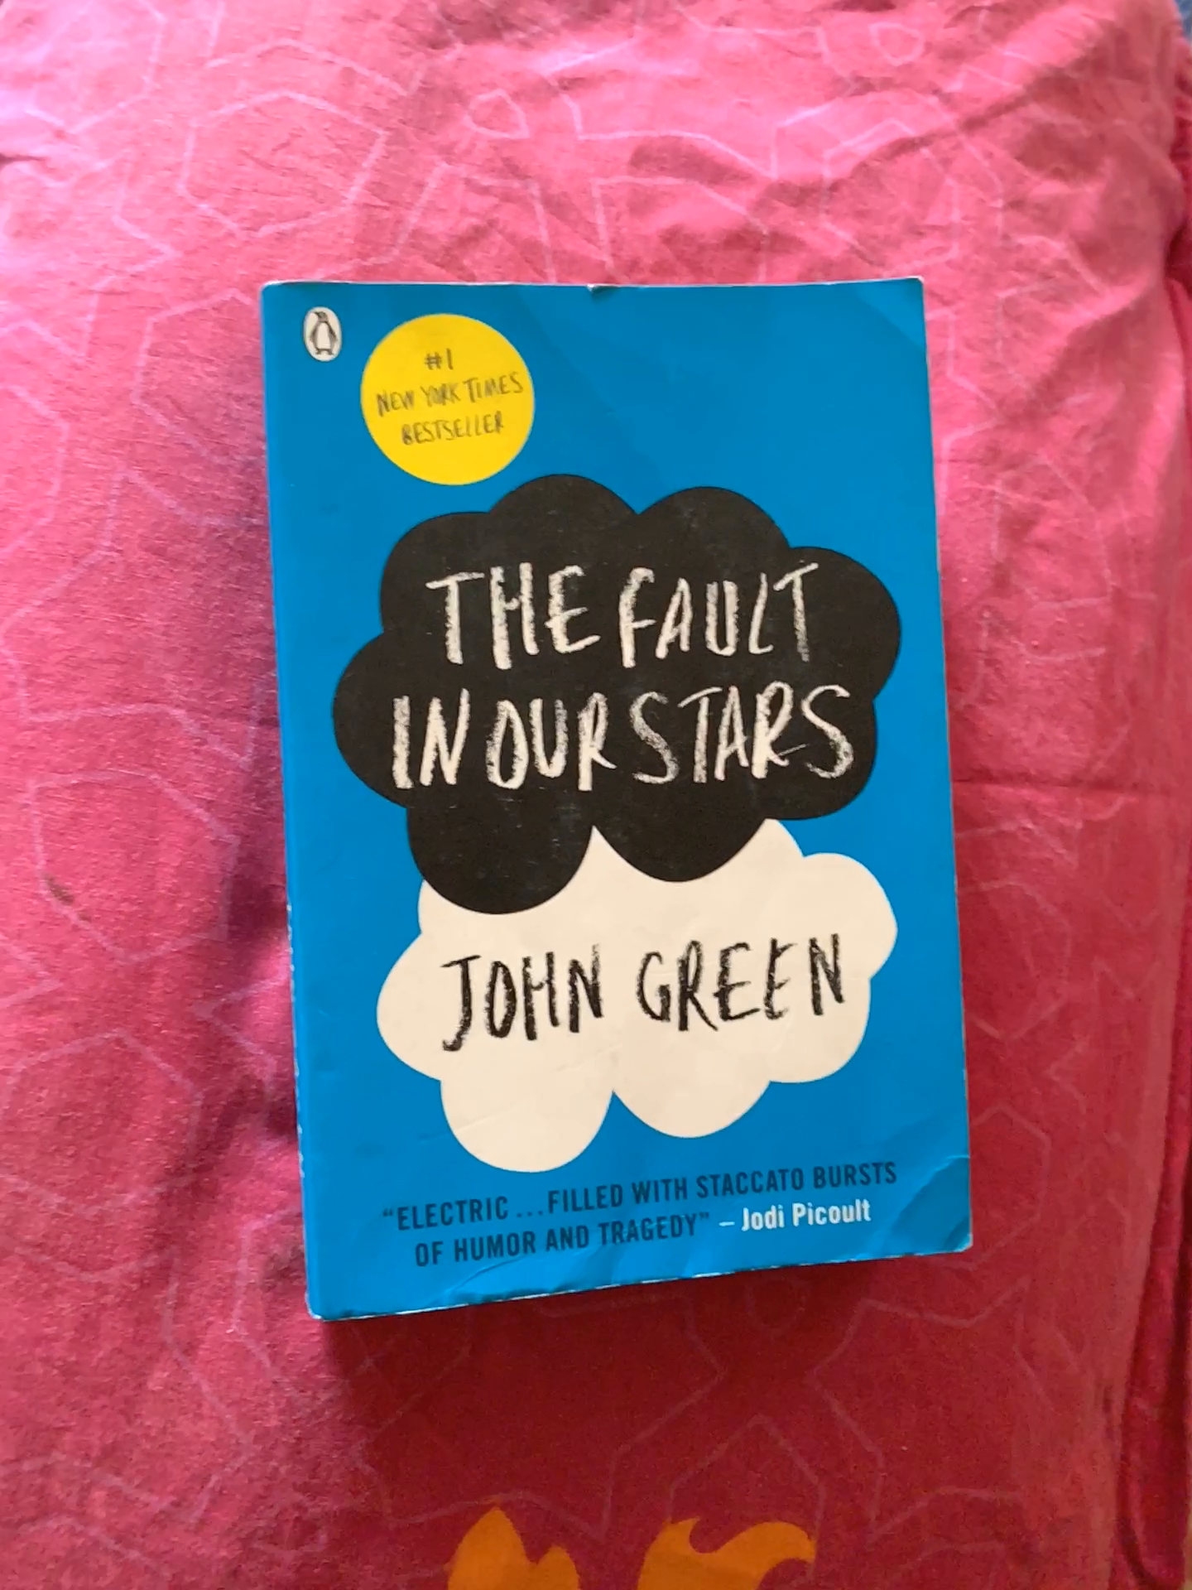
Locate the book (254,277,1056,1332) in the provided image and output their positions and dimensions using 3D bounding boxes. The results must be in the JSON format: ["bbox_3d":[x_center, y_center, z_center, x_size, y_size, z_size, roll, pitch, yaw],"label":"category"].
[{"bbox_3d":[0.009,-0.004,0.233,0.130,0.030,0.179,-4,85,-8],"label":"book"}]
